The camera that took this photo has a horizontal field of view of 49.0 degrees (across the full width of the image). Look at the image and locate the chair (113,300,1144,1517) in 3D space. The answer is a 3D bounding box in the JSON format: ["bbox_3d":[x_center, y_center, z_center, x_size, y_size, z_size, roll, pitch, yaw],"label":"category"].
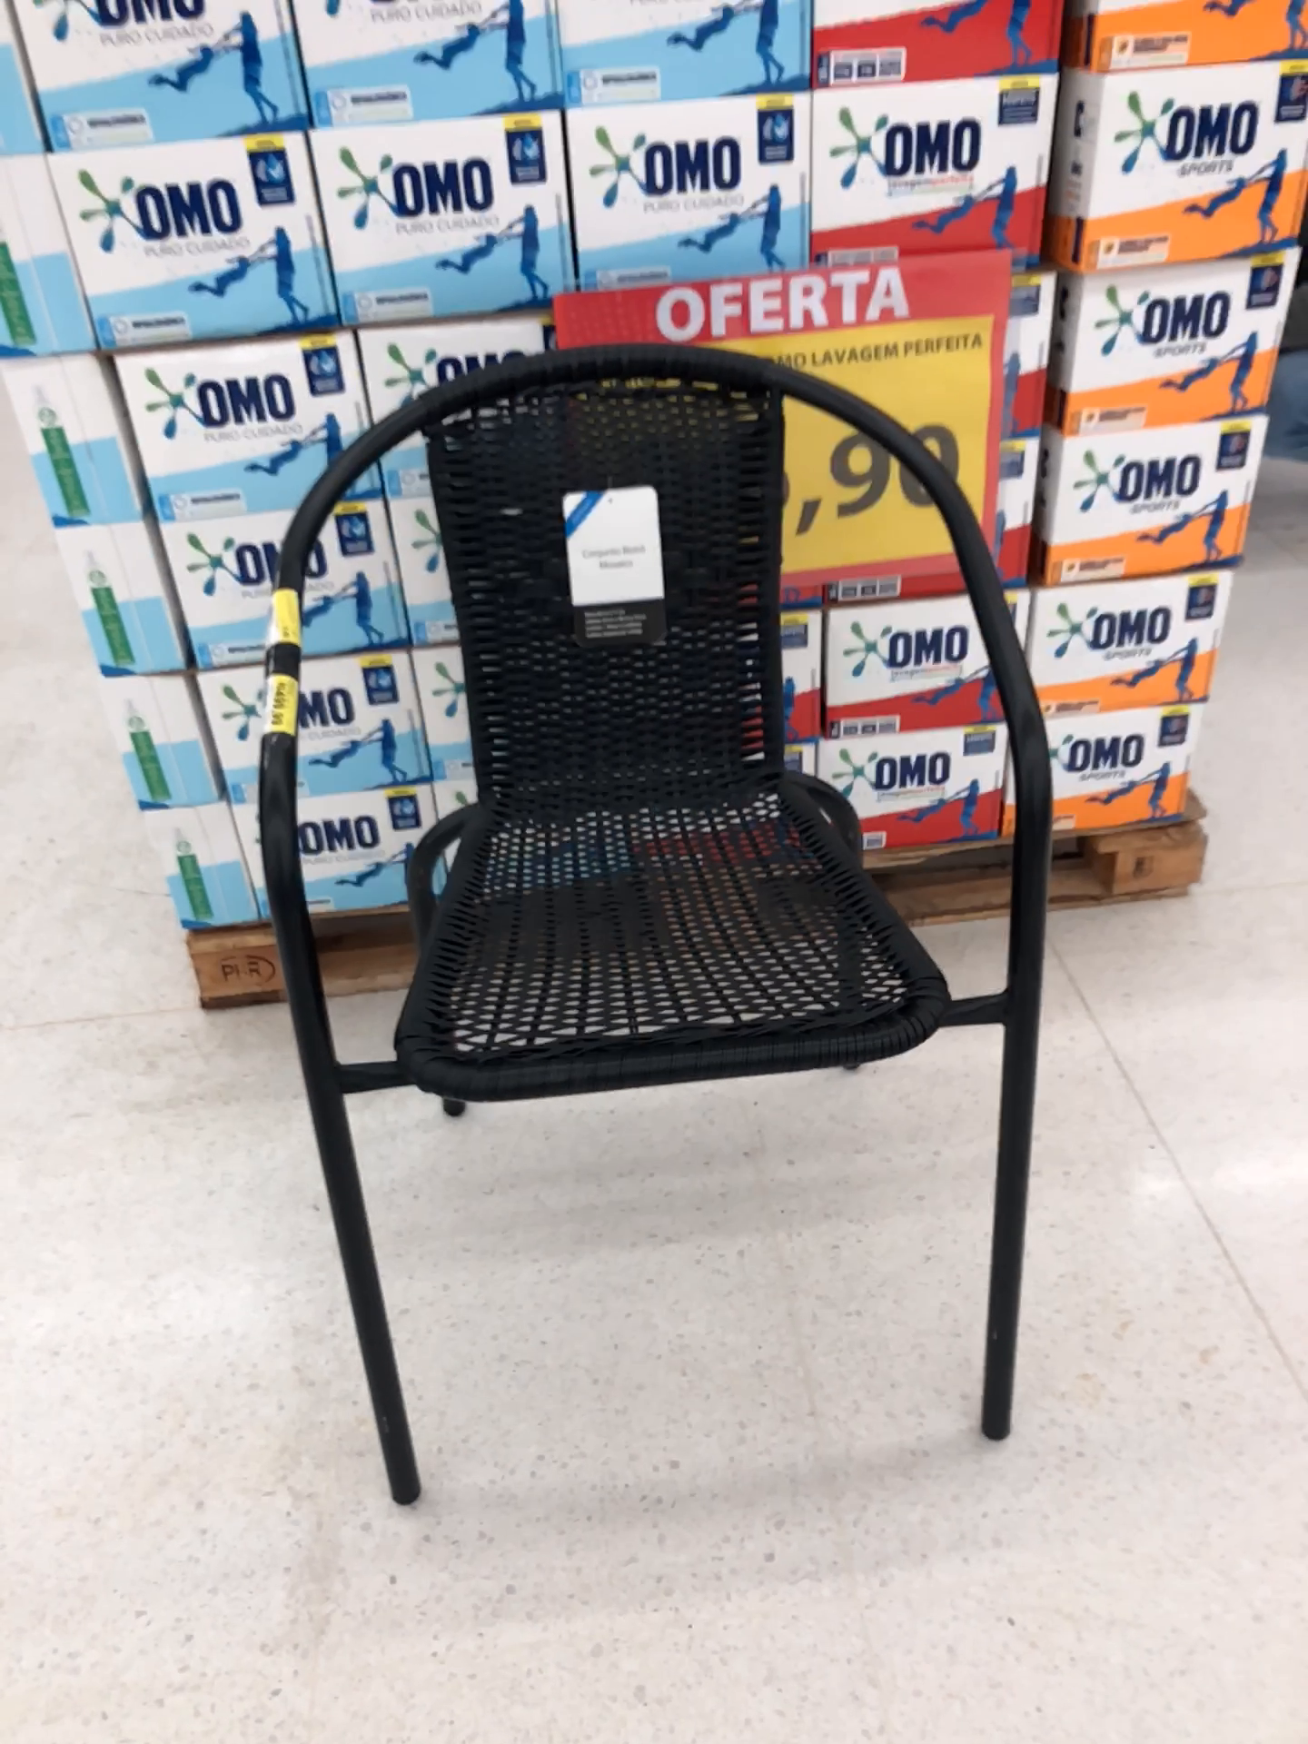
[{"bbox_3d":[-0.011,0.019,1.100,0.500,0.725,0.504,-6,34,-3],"label":"chair"}]
